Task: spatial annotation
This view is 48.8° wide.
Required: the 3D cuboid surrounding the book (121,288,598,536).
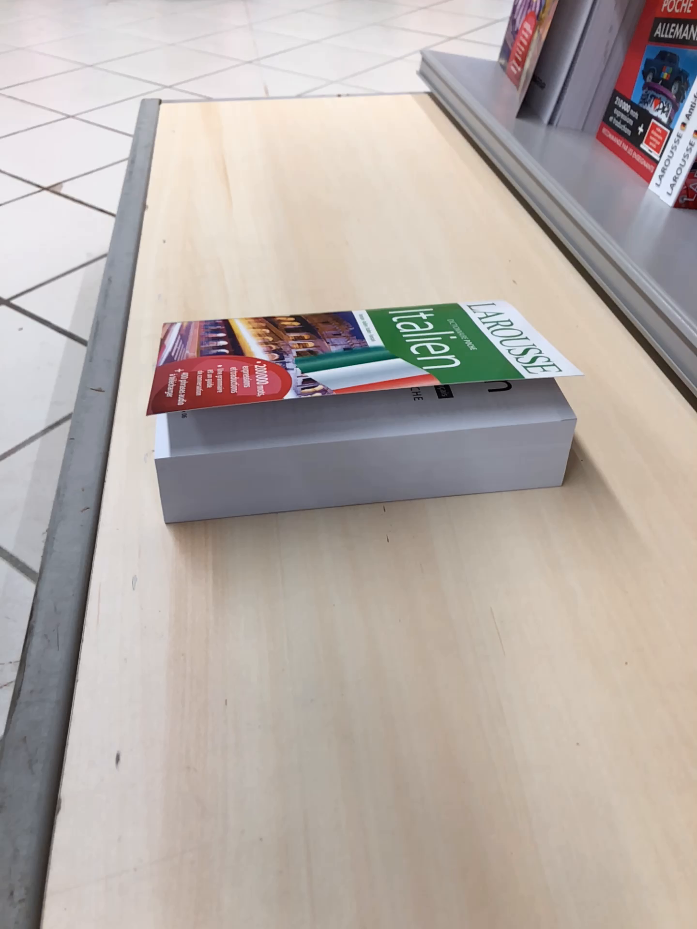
[{"bbox_3d":[0.000,-0.029,0.348,0.183,0.045,0.107,-4,41,-6],"label":"book"}]
